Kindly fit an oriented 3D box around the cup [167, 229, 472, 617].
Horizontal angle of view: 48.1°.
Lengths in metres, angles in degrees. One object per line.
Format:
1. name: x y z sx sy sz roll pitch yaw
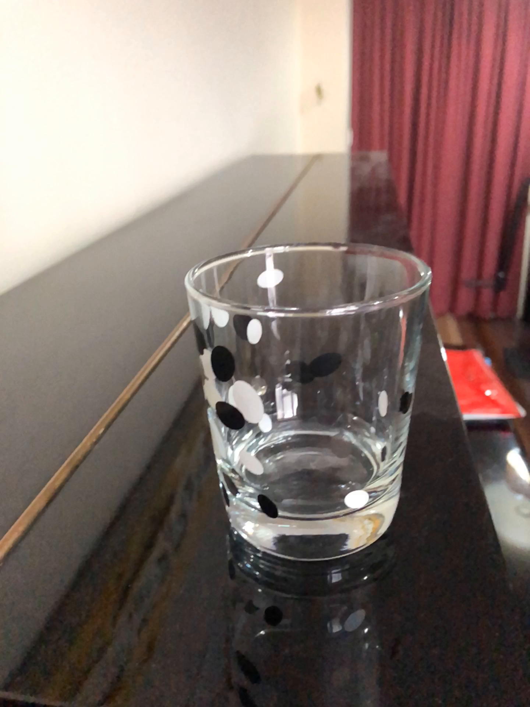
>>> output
1. cup: 0.014 0.016 0.213 0.070 0.099 0.080 -11 24 -20
